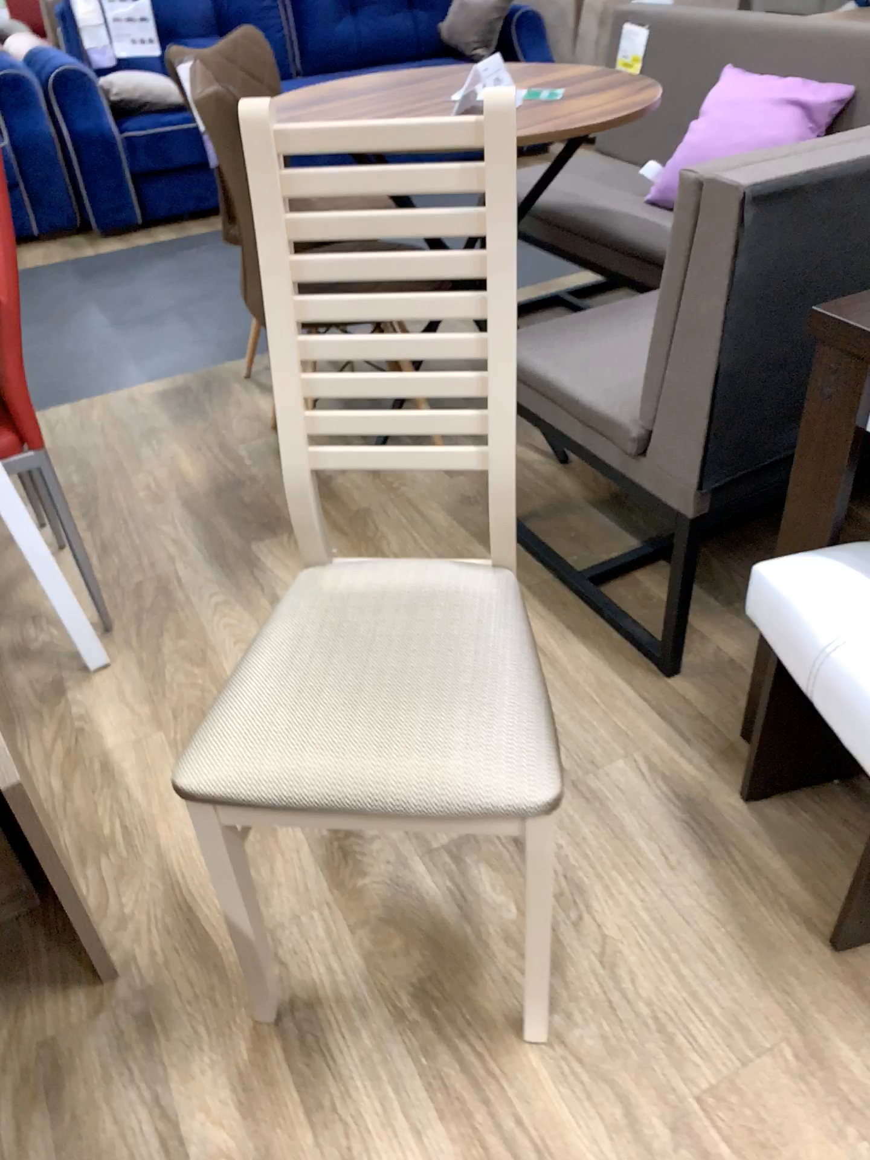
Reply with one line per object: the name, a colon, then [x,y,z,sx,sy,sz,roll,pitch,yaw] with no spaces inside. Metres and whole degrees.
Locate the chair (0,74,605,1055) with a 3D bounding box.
chair: [-0.045,0.035,1.000,0.390,0.970,0.475,1,37,7]
